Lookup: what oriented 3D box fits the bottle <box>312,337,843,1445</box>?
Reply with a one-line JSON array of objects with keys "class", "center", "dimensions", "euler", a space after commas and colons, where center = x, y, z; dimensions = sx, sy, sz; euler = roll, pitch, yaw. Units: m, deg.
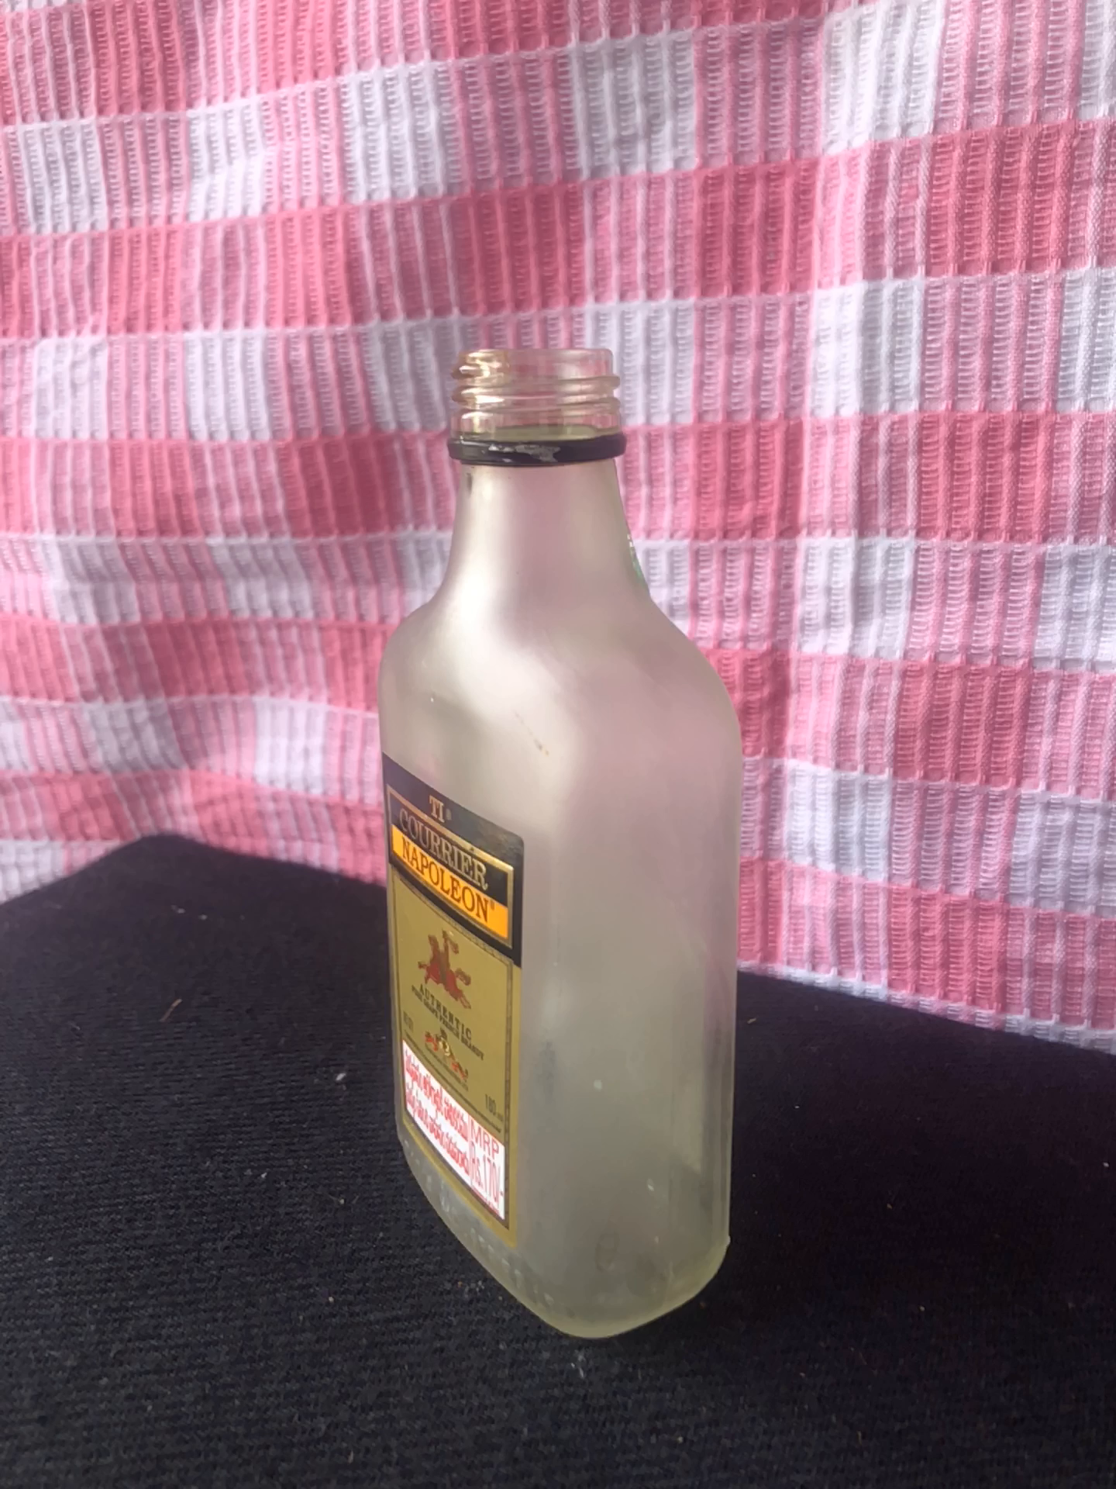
[{"class": "bottle", "center": [-0.001, 0.016, 0.194], "dimensions": [0.040, 0.149, 0.070], "euler": [-12, 22, -31]}]
